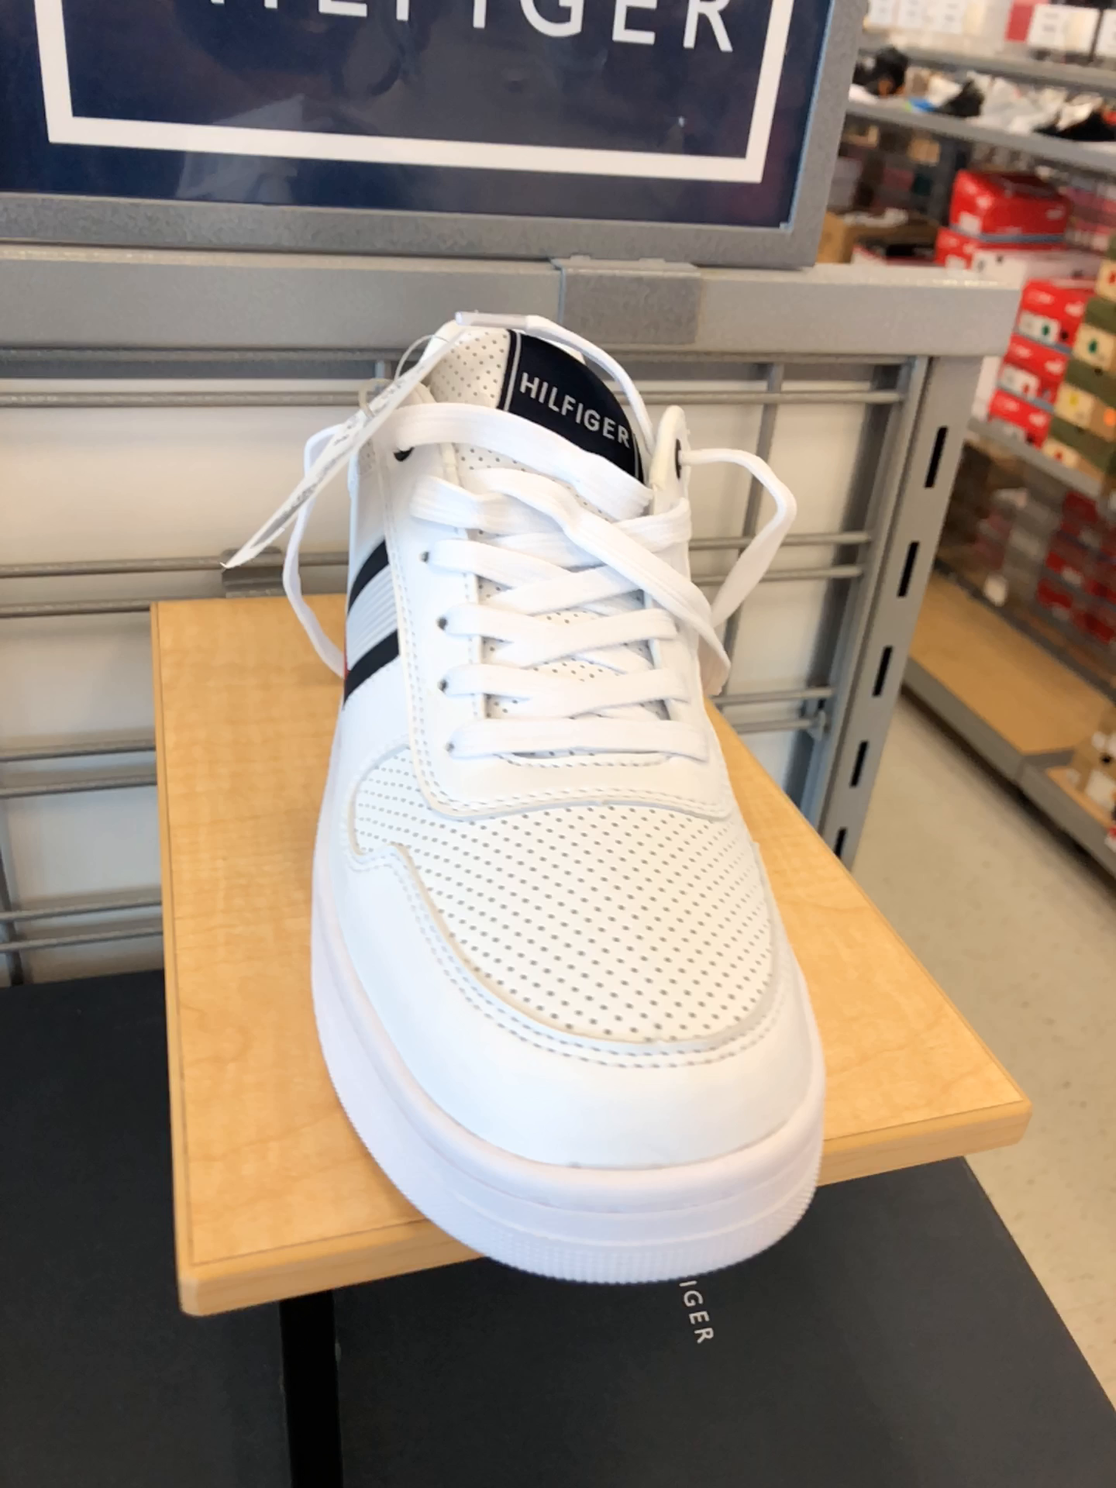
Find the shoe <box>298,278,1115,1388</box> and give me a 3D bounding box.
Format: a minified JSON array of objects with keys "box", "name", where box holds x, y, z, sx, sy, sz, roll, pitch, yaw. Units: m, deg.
[{"box":[-0.005,-0.021,0.297,0.107,0.113,0.282,-1,31,-12],"name":"shoe"}]
